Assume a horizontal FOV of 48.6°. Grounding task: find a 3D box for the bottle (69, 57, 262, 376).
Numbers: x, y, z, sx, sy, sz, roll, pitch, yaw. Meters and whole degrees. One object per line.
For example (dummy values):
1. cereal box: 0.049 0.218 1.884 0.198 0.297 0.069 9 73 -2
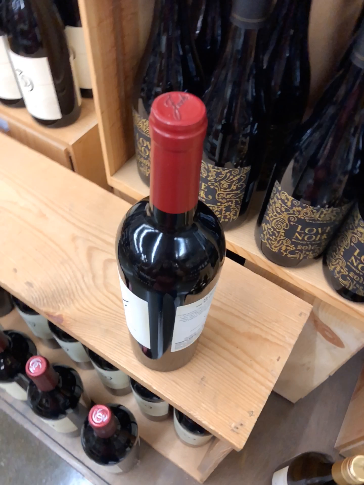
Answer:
1. bottle: -0.013 0.019 0.311 0.080 0.294 0.080 1 55 -2
